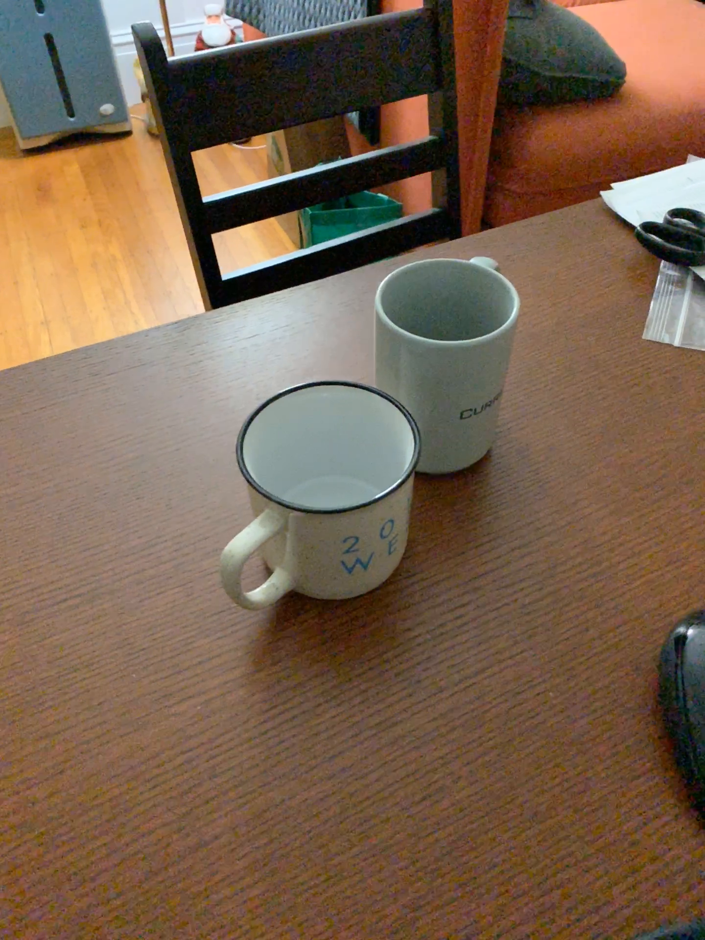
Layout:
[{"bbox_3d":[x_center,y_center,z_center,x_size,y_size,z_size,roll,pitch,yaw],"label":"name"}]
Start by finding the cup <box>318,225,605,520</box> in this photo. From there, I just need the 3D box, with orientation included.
[{"bbox_3d":[0.066,-0.066,0.461,0.140,0.100,0.100,-36,57,-27],"label":"cup"}]

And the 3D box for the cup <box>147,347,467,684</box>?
[{"bbox_3d":[-0.022,0.022,0.408,0.130,0.100,0.100,-35,57,-27],"label":"cup"}]
